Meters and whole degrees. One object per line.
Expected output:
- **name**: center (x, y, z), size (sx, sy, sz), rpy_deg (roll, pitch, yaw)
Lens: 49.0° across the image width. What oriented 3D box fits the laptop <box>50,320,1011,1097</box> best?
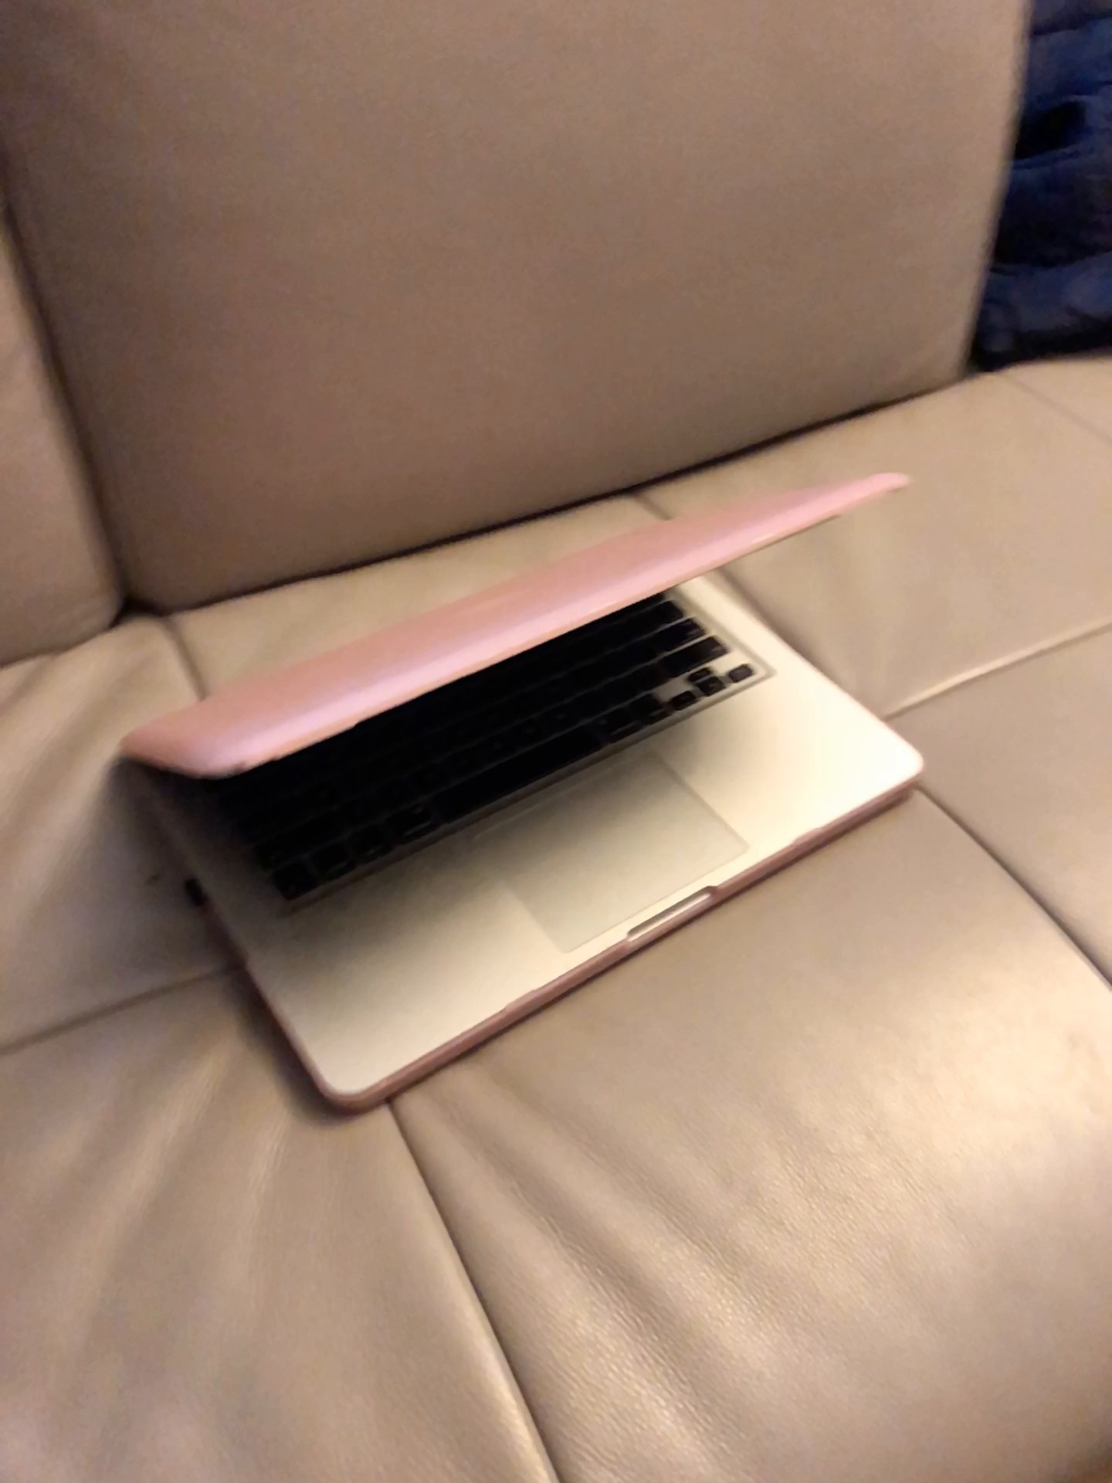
- **laptop**: center (-0.013, -0.038, 0.534), size (0.308, 0.145, 0.220), rpy_deg (-26, 52, -24)
